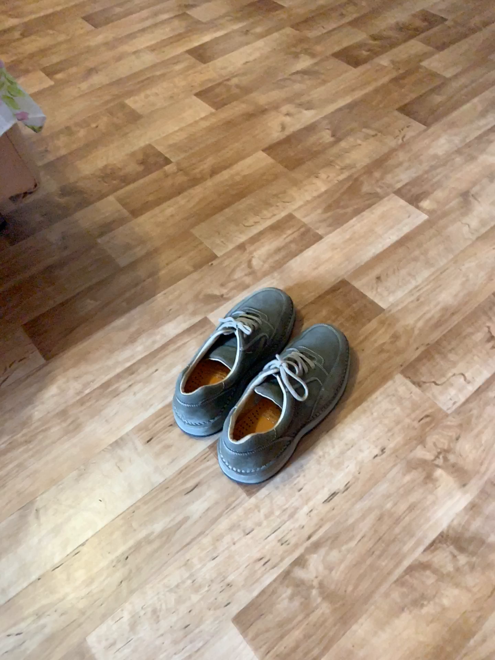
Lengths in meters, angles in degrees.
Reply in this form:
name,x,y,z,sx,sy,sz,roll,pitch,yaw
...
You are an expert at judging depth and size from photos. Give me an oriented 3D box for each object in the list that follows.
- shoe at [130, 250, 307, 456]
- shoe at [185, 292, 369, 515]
name,x,y,z,sx,sy,sz,roll,pitch,yaw
shoe,-0.032,0.027,0.788,0.120,0.110,0.291,26,60,19
shoe,0.052,0.101,0.756,0.120,0.120,0.290,28,61,21
